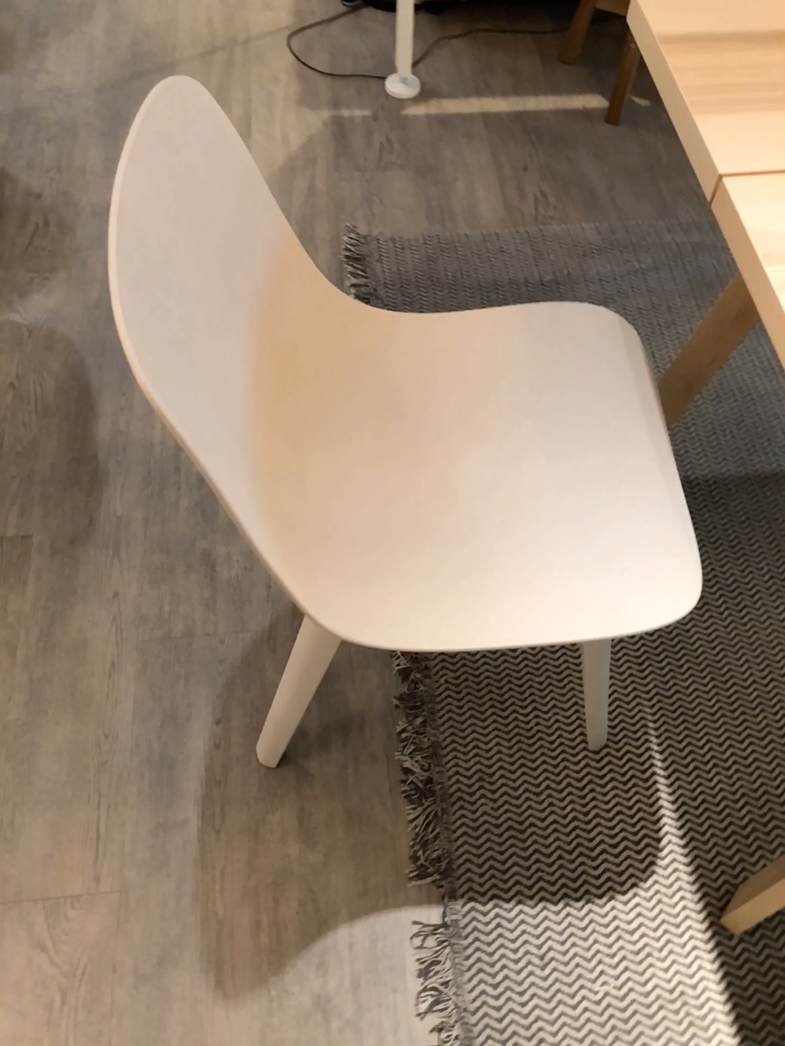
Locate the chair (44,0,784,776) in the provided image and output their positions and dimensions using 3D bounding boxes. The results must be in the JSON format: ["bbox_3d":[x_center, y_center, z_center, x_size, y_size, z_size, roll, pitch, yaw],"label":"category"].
[{"bbox_3d":[0.041,-0.077,0.931,0.510,0.766,0.462,-3,58,-3],"label":"chair"}]
